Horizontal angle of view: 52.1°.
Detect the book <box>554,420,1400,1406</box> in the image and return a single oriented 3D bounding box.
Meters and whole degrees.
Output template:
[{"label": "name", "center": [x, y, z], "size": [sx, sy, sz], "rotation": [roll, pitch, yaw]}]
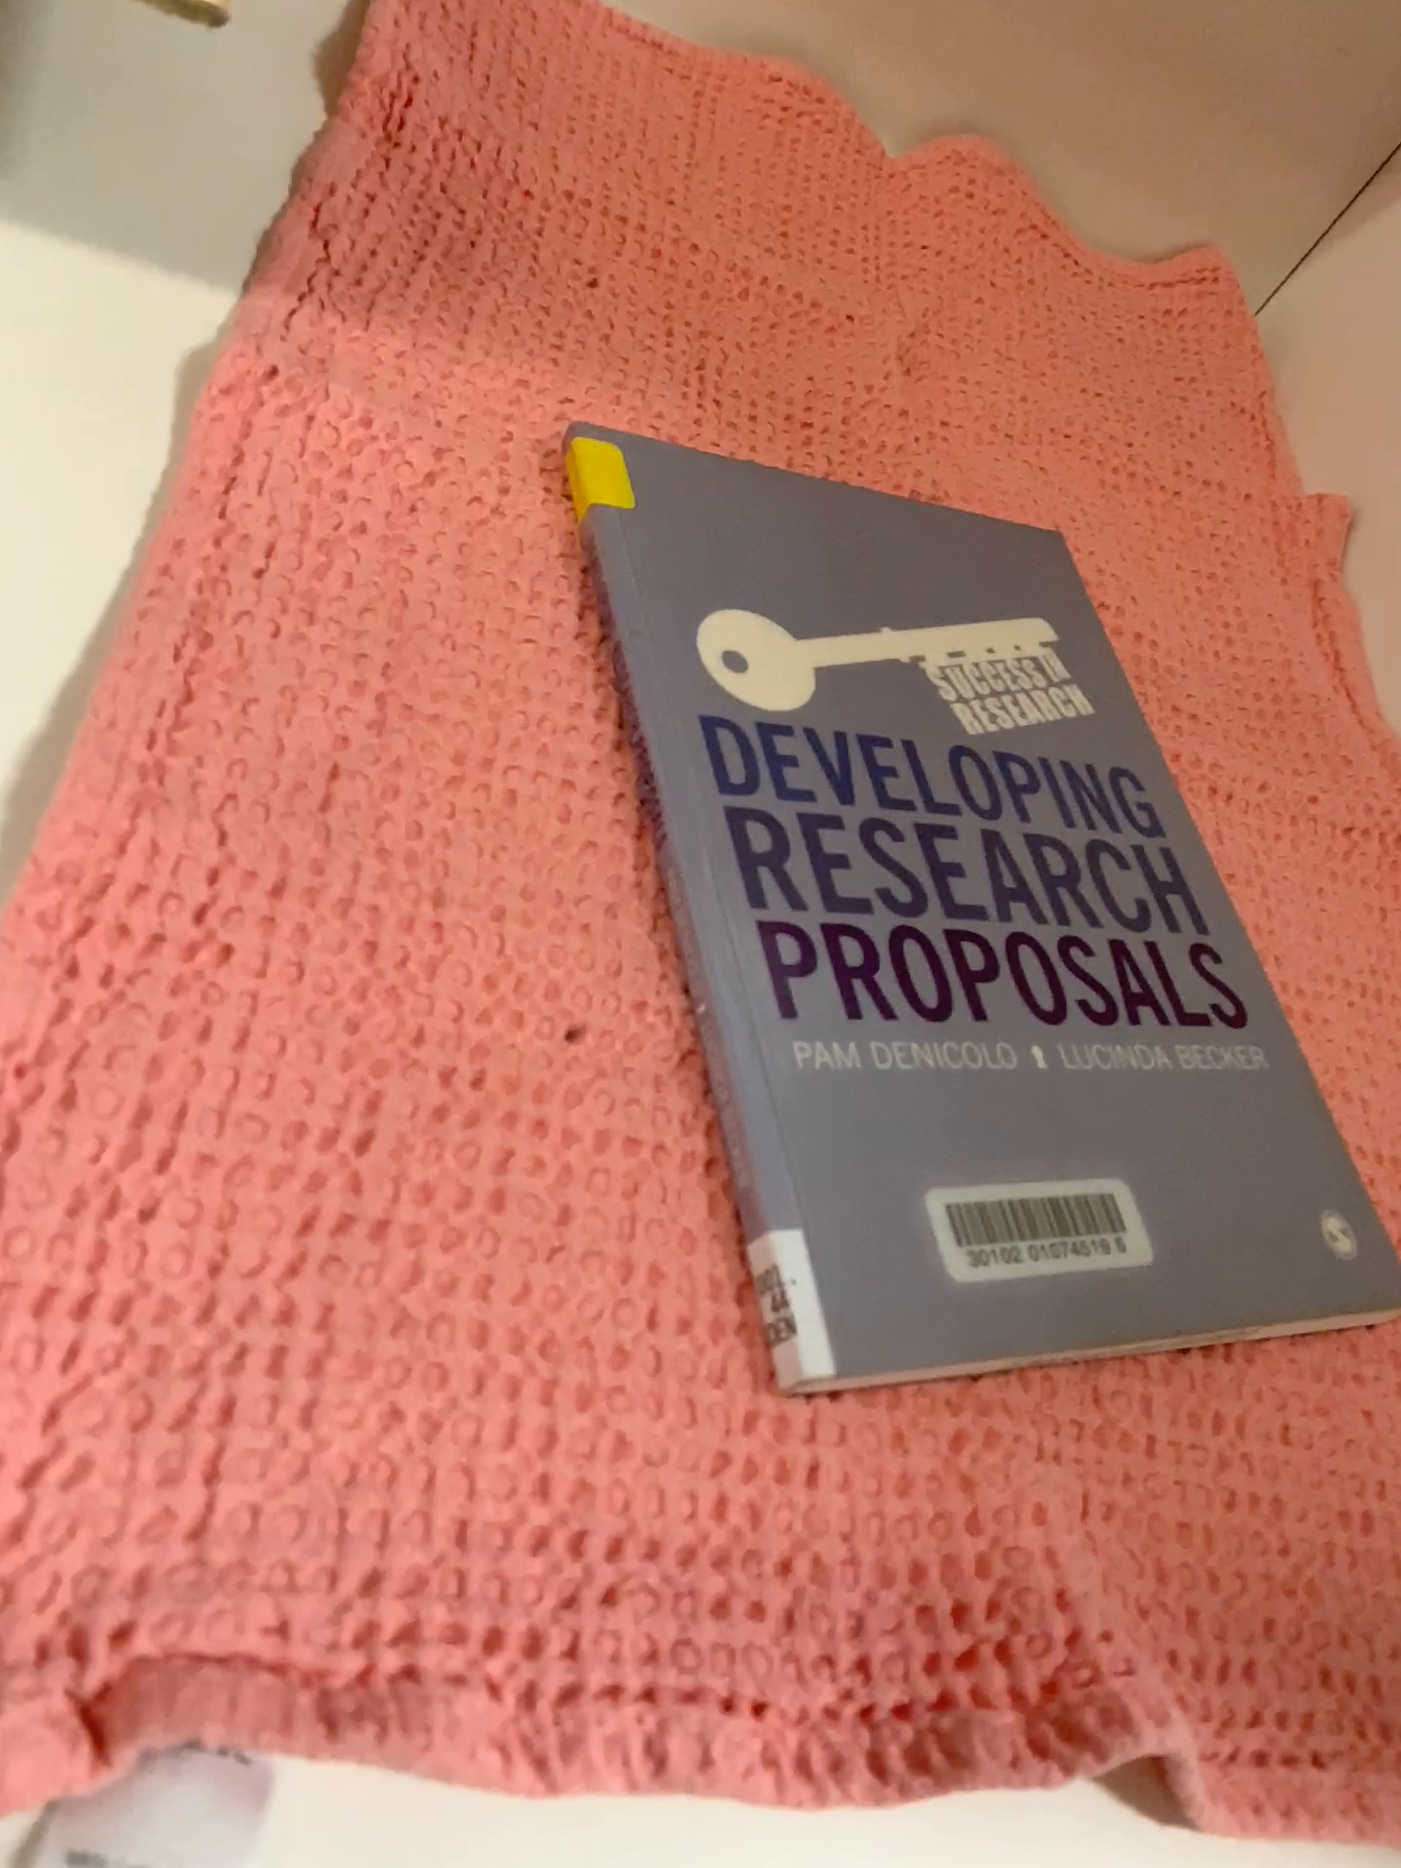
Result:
[{"label": "book", "center": [0.064, -0.018, 0.332], "size": [0.165, 0.015, 0.232], "rotation": [4, 56, -29]}]
